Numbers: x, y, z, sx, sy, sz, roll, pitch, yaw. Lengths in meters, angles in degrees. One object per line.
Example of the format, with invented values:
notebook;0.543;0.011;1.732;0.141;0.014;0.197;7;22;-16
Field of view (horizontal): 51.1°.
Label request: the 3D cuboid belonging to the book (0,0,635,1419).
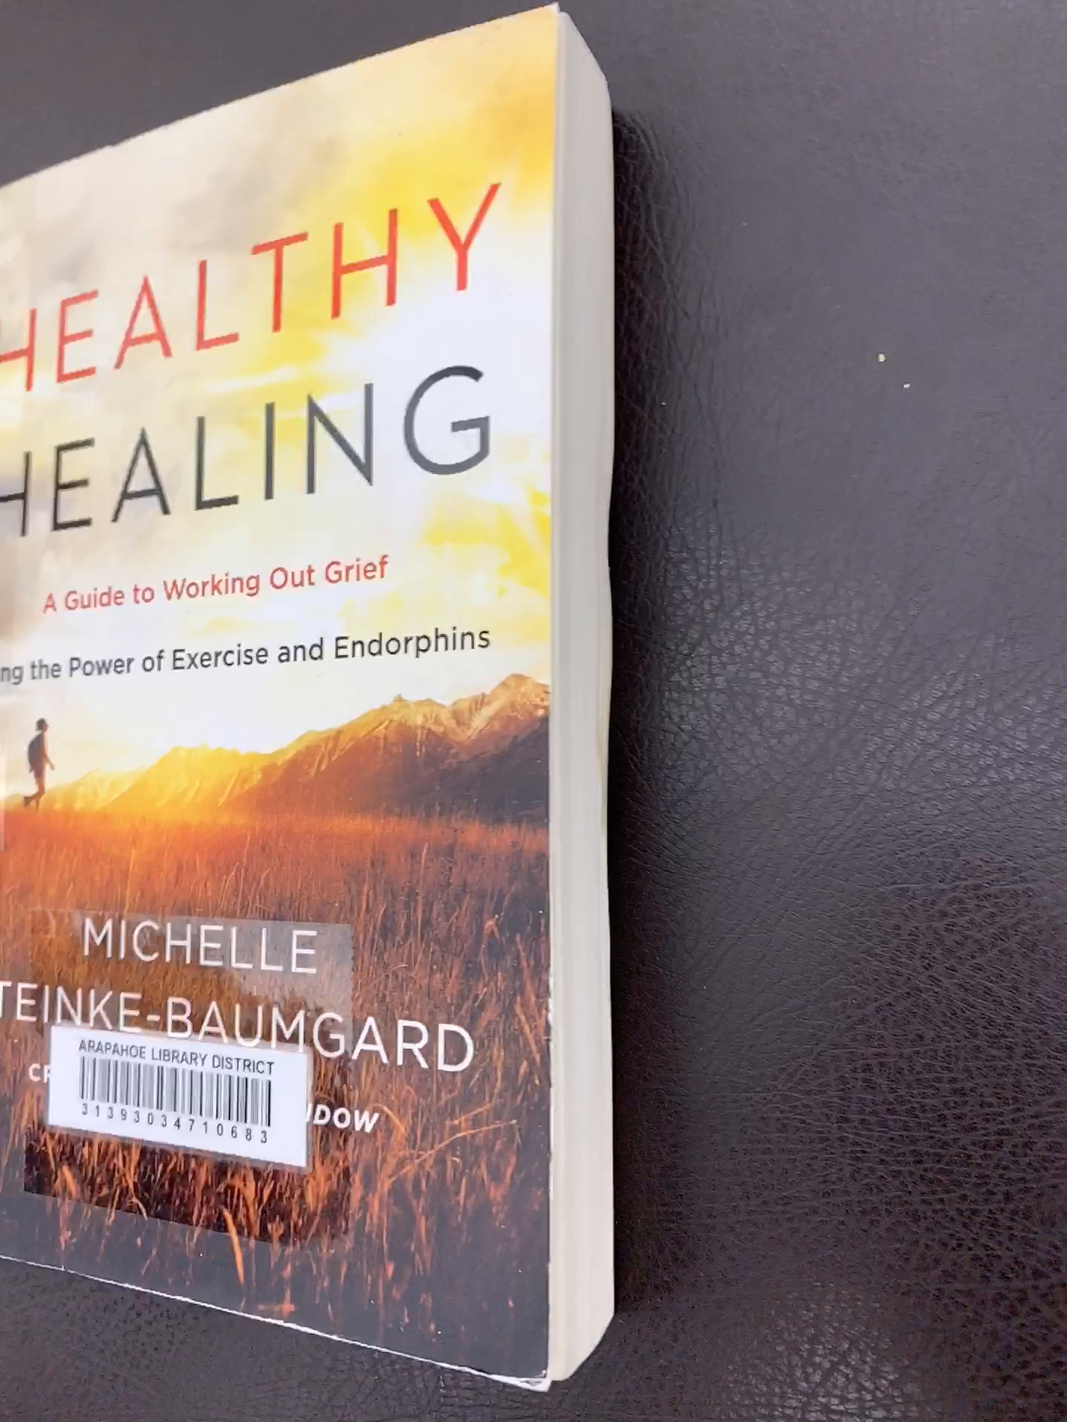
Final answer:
book;-0.054;-0.010;0.197;0.140;0.027;0.212;-2;82;23
